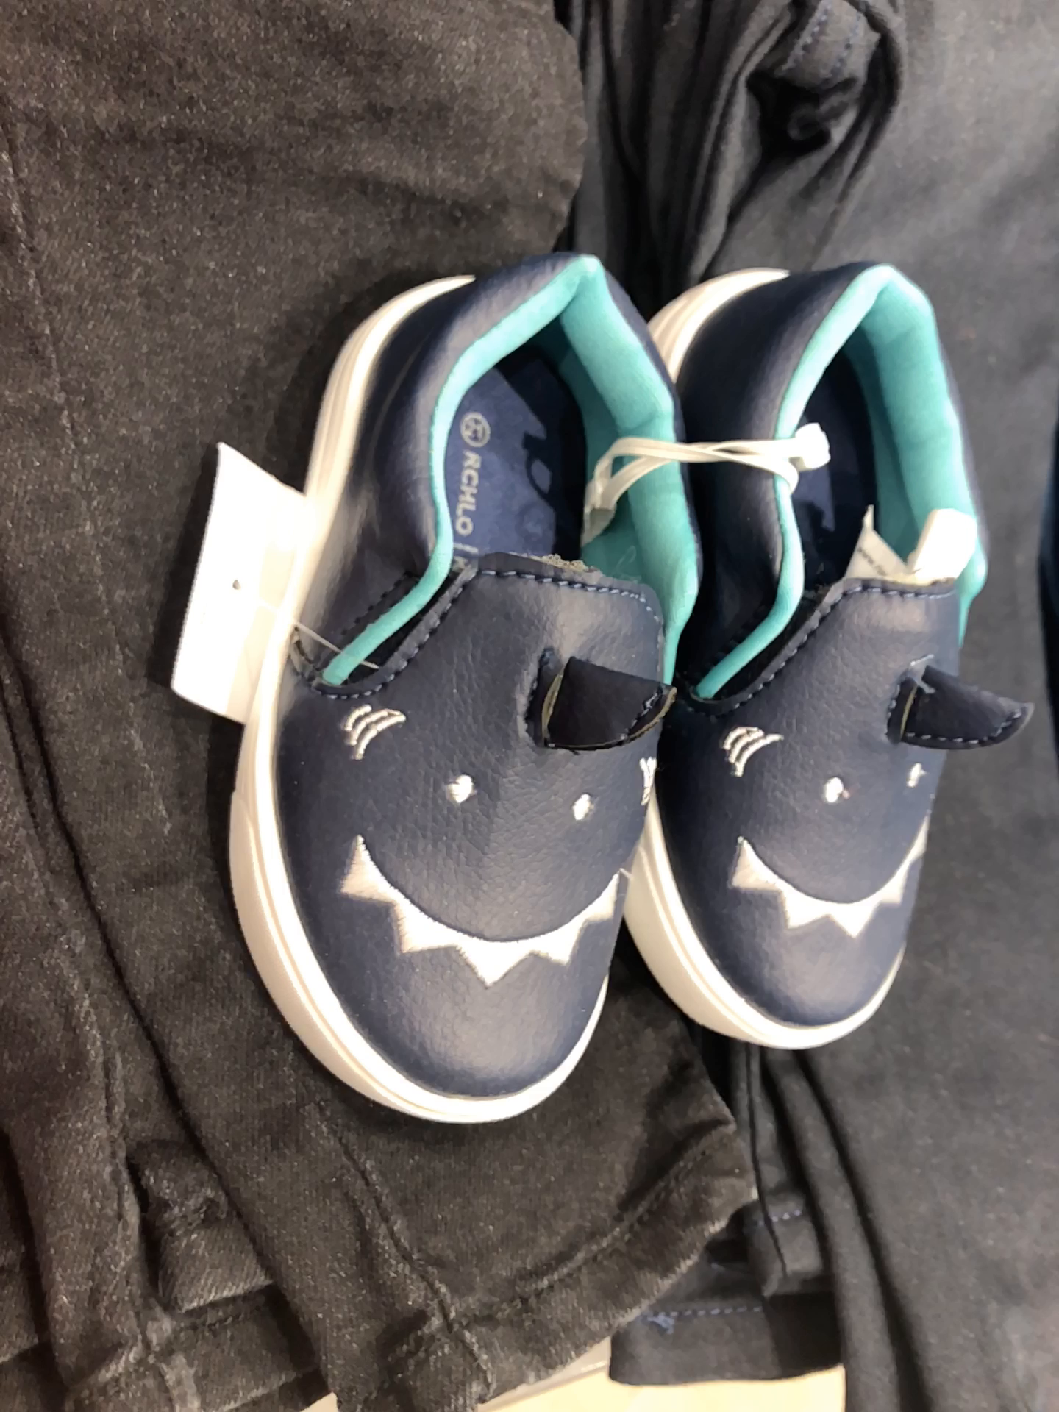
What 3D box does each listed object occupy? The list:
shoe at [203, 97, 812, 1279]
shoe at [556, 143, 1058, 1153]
[{"bbox_3d":[-0.002,-0.001,0.193,0.080,0.050,0.150,5,82,-34],"label":"shoe"},{"bbox_3d":[0.061,-0.011,0.219,0.080,0.050,0.150,-7,89,-34],"label":"shoe"}]
